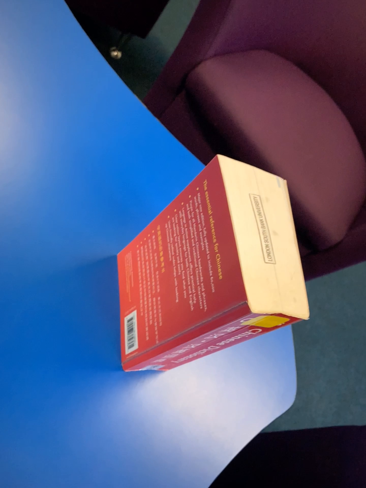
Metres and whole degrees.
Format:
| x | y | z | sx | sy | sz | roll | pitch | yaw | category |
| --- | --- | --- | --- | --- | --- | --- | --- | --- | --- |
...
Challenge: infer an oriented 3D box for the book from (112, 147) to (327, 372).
| x | y | z | sx | sy | sz | roll | pitch | yaw | category |
| --- | --- | --- | --- | --- | --- | --- | --- | --- | --- |
| 0.013 | 0.032 | 0.370 | 0.080 | 0.198 | 0.141 | 12 | 58 | -33 | book |
